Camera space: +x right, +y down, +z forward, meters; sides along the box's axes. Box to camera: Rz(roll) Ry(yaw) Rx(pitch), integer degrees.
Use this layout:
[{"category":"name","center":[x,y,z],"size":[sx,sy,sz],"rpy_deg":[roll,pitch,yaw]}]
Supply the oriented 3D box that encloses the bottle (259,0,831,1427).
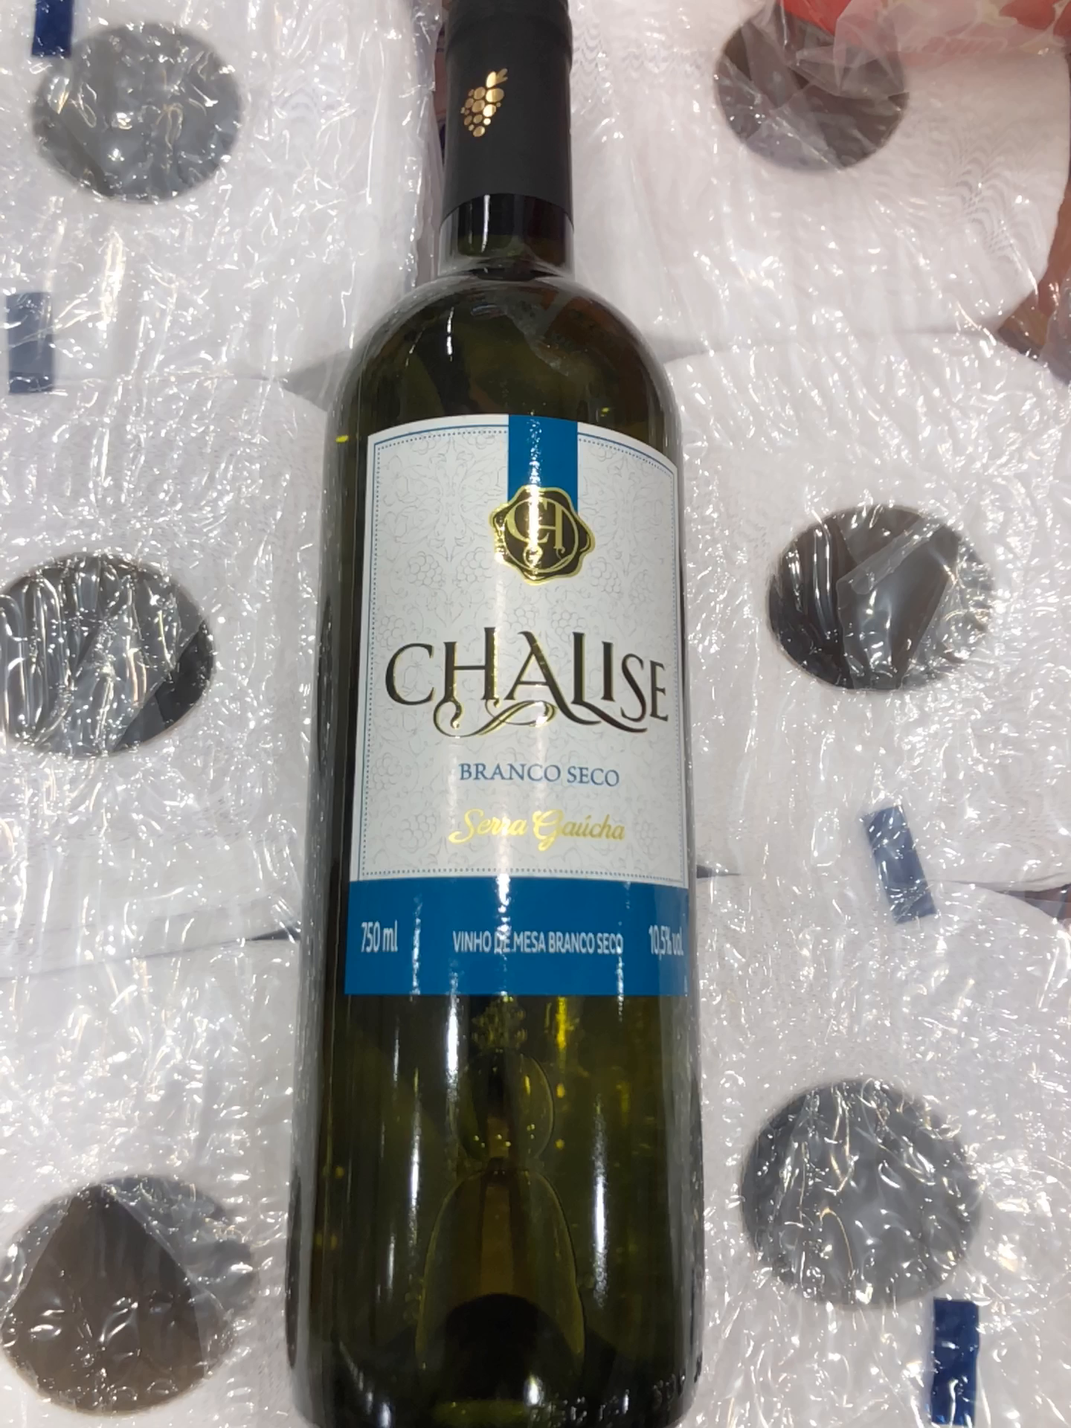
[{"category":"bottle","center":[-0.001,-0.013,0.226],"size":[0.080,0.060,0.280],"rpy_deg":[4,76,-14]}]
